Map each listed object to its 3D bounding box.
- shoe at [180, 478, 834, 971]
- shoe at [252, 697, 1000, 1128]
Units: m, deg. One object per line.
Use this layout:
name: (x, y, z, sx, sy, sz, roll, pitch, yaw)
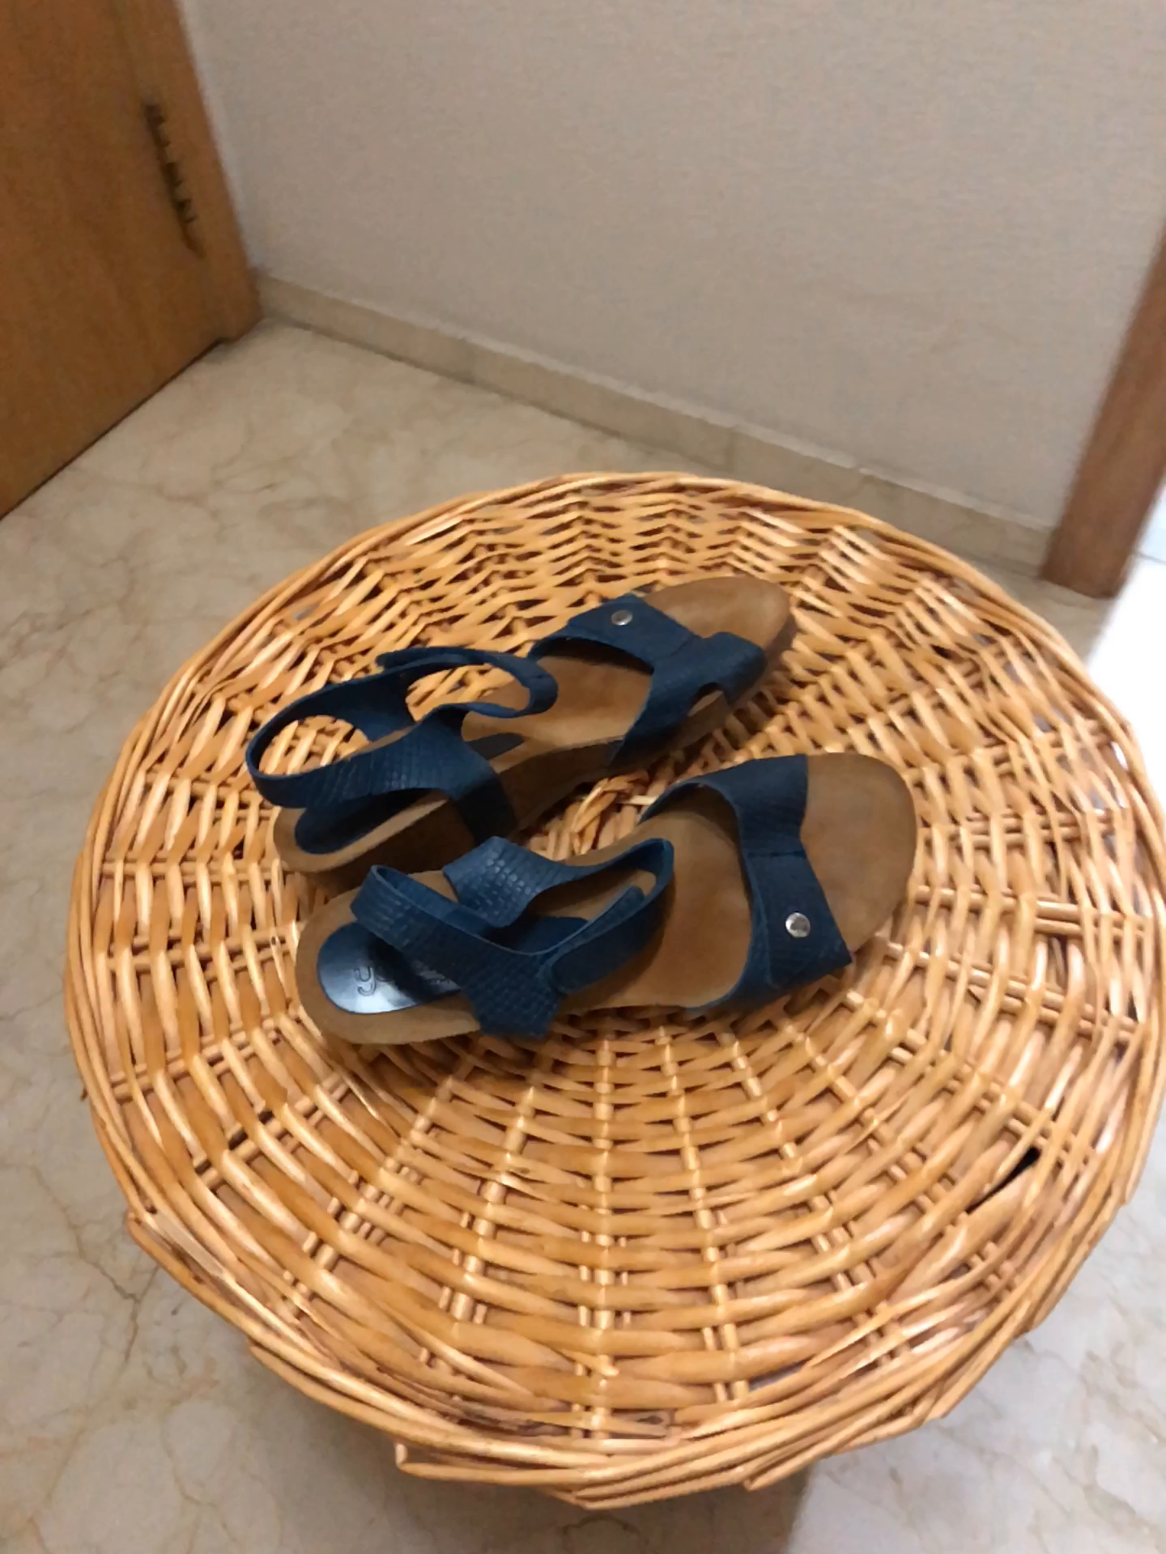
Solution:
shoe: (-0.025, -0.033, 0.577, 0.280, 0.060, 0.090, -30, 51, -19)
shoe: (0.016, 0.051, 0.527, 0.280, 0.060, 0.090, -14, 48, -8)
